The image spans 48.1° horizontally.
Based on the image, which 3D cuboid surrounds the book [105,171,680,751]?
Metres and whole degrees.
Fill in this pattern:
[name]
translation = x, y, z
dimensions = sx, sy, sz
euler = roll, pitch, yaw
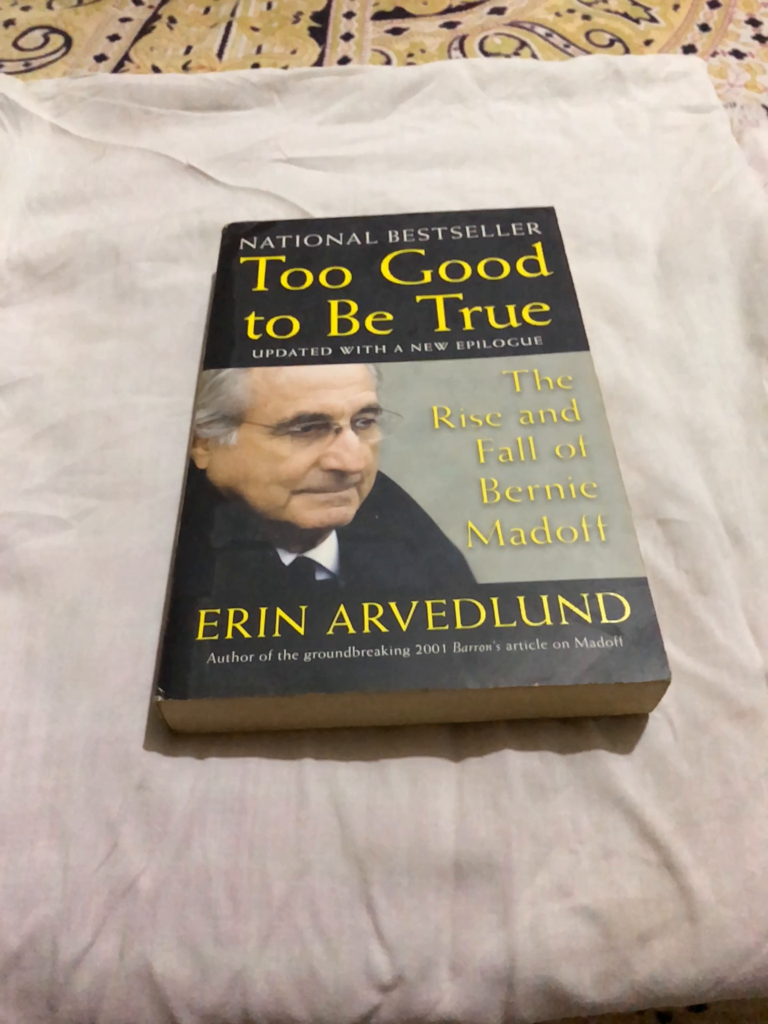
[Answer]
[book]
translation = -0.001, -0.036, 0.305
dimensions = 0.150, 0.030, 0.231
euler = -4, 53, 2
